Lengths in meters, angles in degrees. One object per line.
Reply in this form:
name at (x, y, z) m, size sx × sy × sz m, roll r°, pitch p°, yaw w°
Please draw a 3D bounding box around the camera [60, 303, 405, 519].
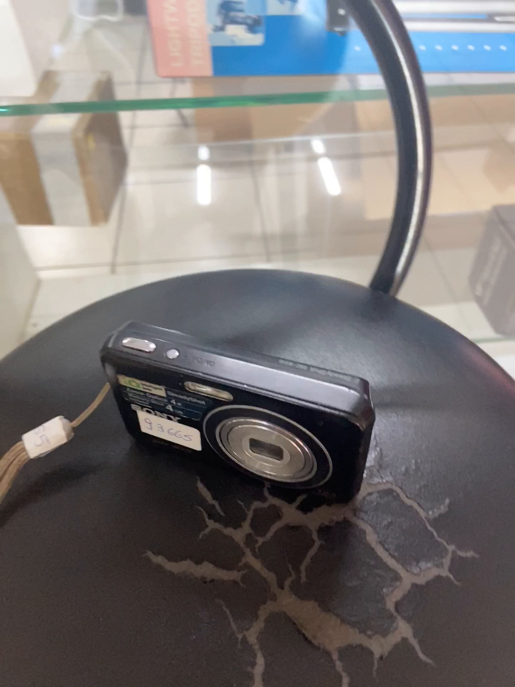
camera at (-0.010, 0.023, 0.188) m, size 0.110 × 0.050 × 0.020 m, roll 14°, pitch 48°, yaw 16°
